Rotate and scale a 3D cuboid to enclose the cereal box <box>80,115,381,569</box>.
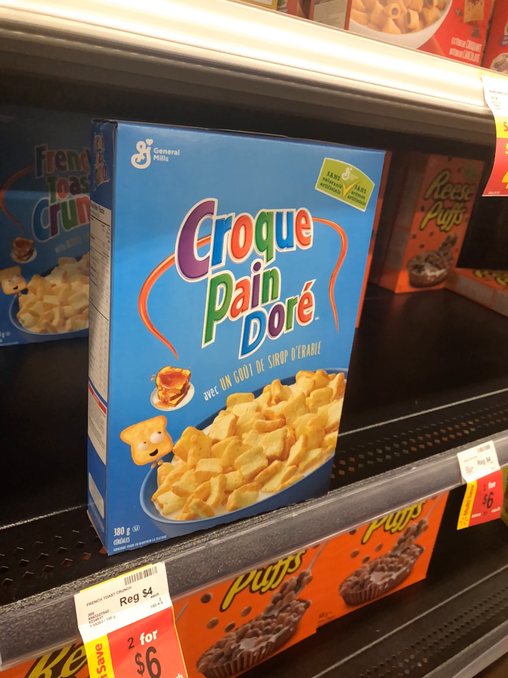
[{"bbox_3d":[-0.022,0.003,0.425,0.200,0.299,0.060,-5,20,-30],"label":"cereal box"}]
